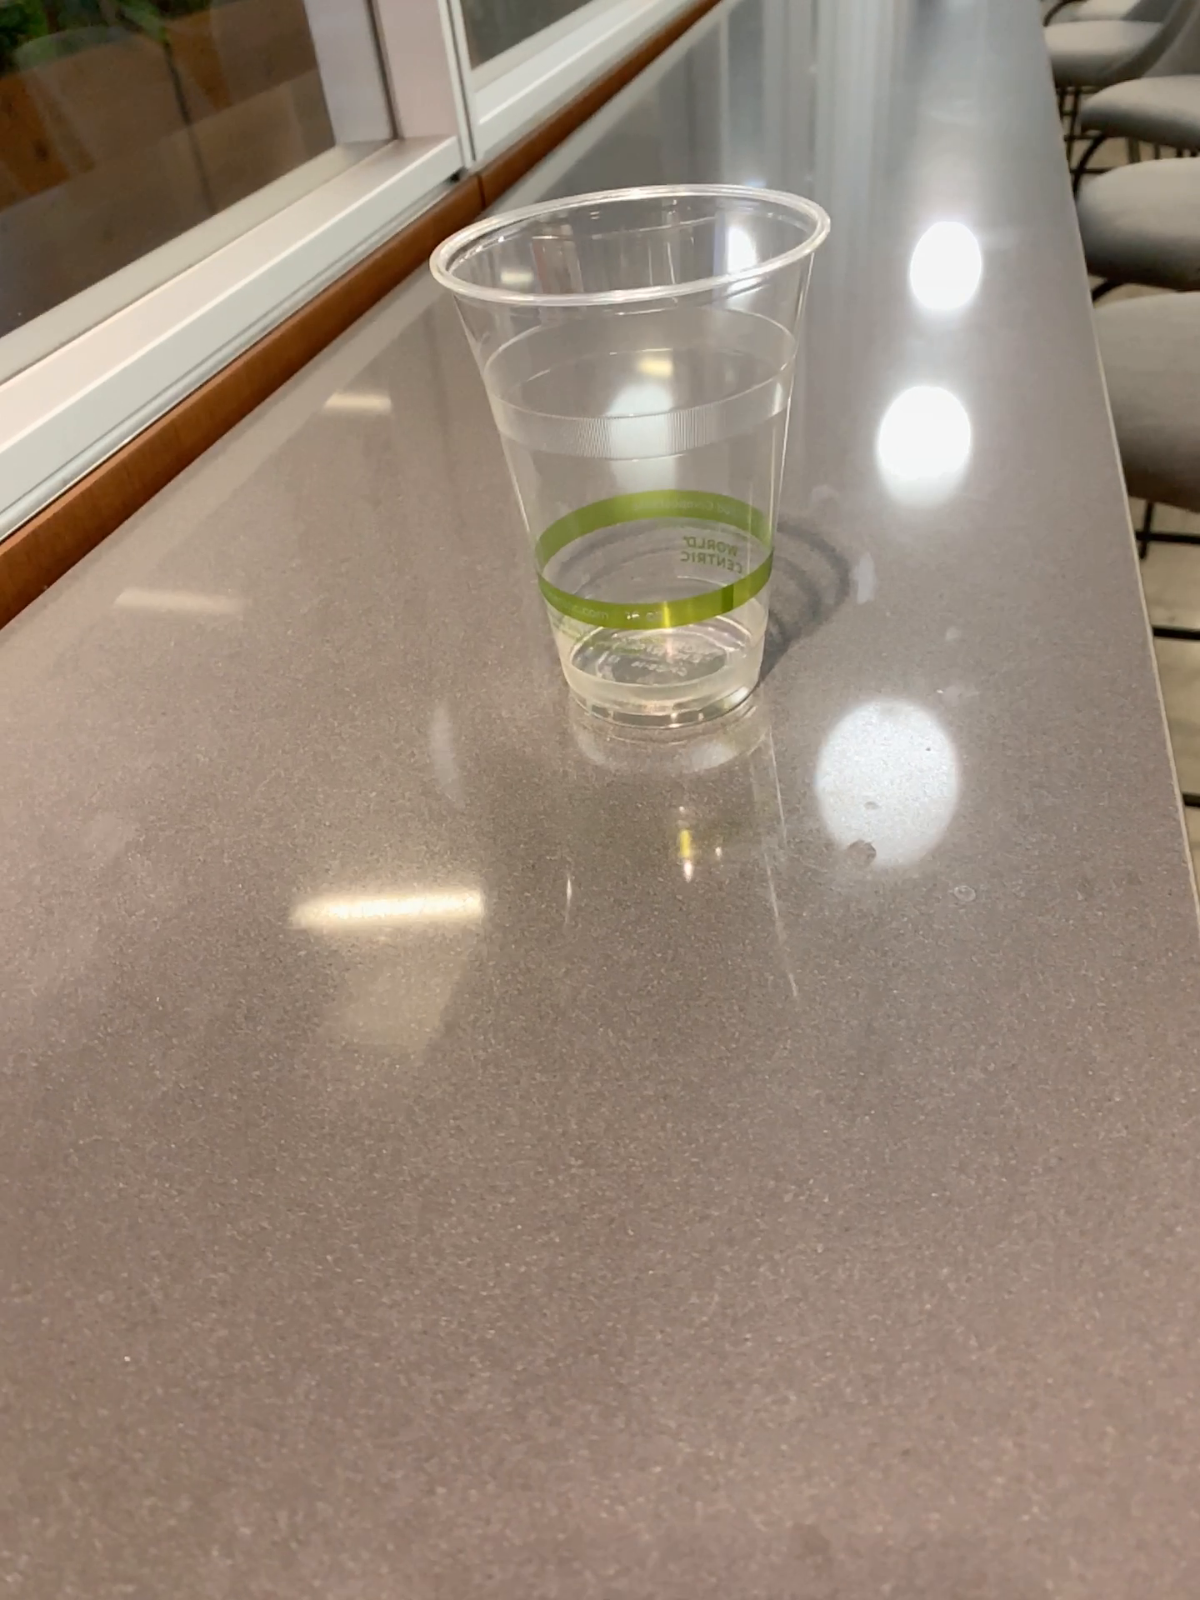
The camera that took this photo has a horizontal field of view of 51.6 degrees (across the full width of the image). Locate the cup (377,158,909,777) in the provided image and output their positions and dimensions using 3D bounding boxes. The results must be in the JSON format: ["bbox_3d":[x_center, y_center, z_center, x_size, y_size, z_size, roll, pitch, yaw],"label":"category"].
[{"bbox_3d":[0.011,-0.098,0.352,0.100,0.119,0.111,-19,39,-13],"label":"cup"}]
